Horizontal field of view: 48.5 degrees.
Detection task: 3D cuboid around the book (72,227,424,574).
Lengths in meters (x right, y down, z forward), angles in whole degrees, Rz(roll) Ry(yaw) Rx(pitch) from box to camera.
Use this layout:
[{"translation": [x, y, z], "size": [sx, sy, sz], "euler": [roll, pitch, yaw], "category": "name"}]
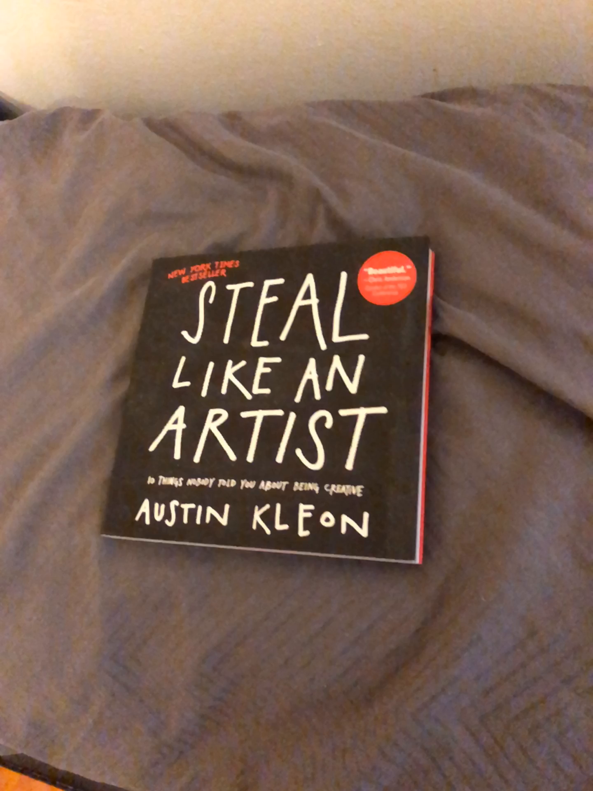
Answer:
[{"translation": [-0.022, -0.002, 0.326], "size": [0.160, 0.020, 0.160], "euler": [0, 72, 18], "category": "book"}]
